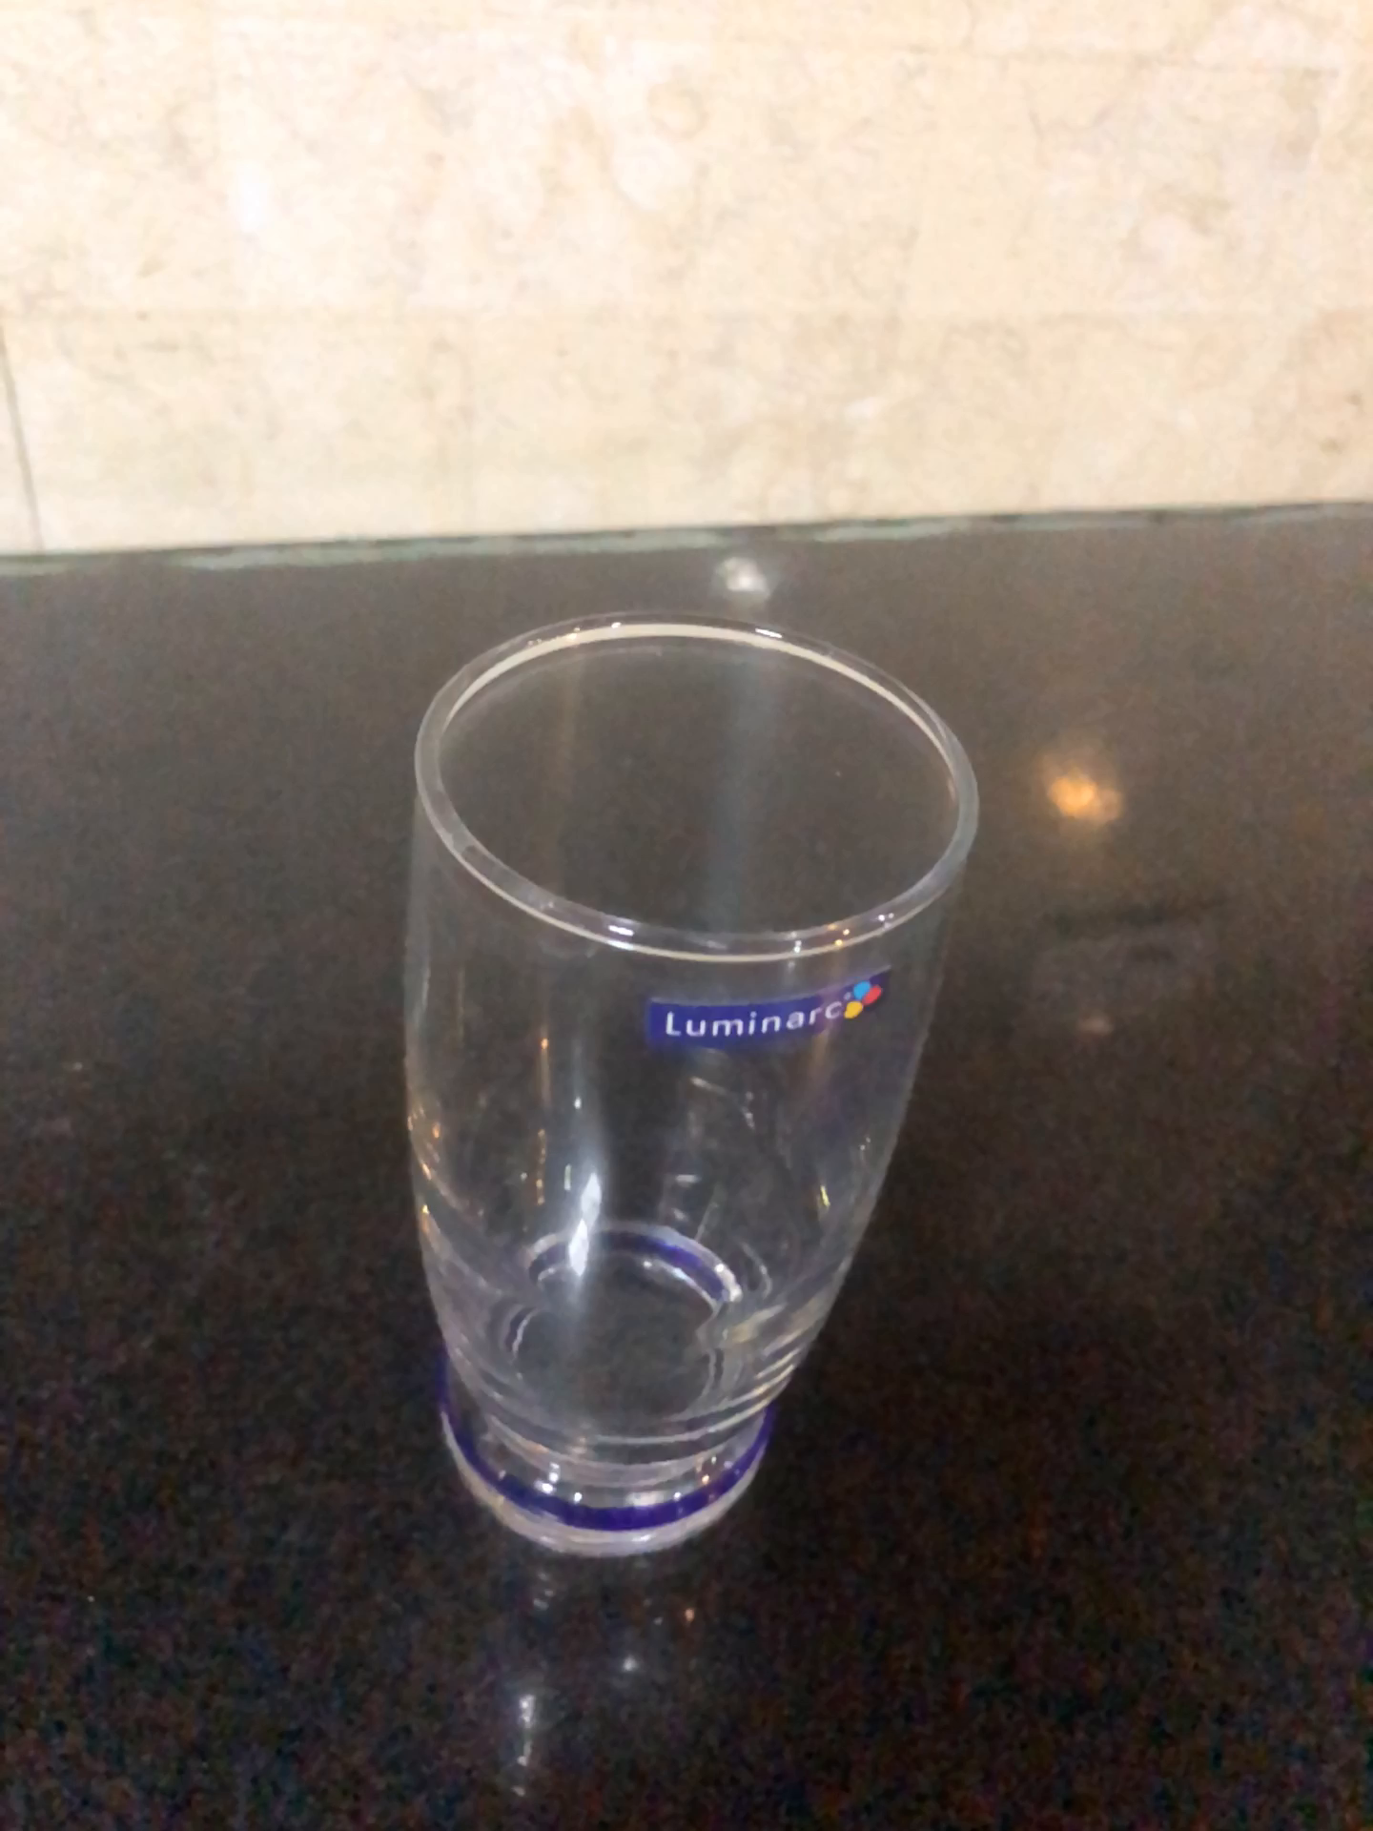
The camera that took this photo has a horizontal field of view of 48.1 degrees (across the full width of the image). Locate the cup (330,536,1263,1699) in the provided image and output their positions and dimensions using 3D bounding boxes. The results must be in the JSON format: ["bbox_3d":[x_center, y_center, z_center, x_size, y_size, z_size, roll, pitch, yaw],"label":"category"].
[{"bbox_3d":[0.003,0.028,0.219,0.080,0.129,0.080,4,39,-4],"label":"cup"}]
